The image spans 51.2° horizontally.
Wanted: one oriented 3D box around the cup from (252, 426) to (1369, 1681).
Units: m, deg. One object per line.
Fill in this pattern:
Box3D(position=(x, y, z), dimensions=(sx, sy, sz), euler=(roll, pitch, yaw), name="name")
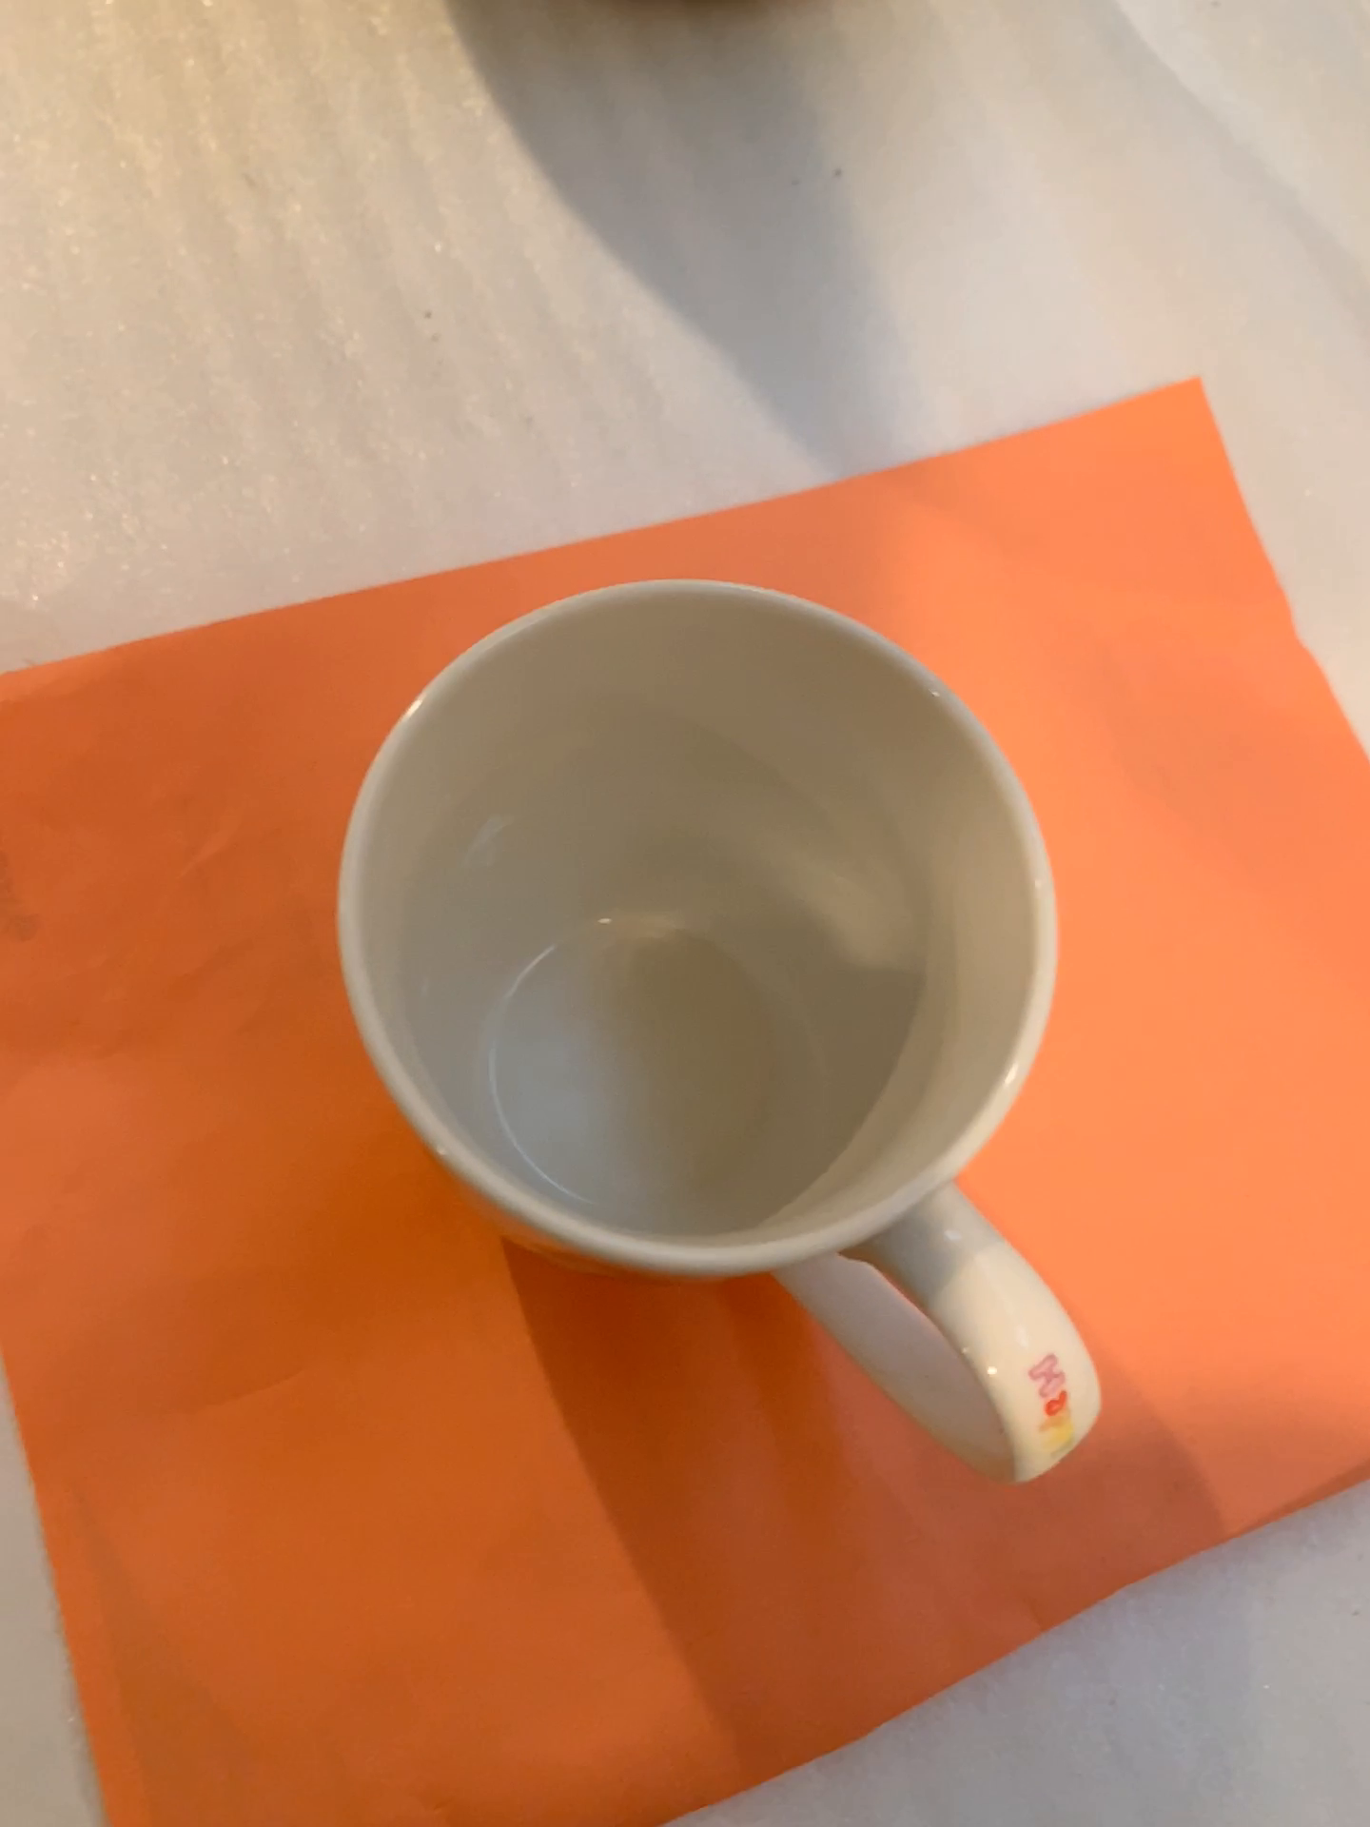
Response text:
Box3D(position=(0.015, 0.020, 0.210), dimensions=(0.090, 0.090, 0.120), euler=(-33, 79, -17), name="cup")
